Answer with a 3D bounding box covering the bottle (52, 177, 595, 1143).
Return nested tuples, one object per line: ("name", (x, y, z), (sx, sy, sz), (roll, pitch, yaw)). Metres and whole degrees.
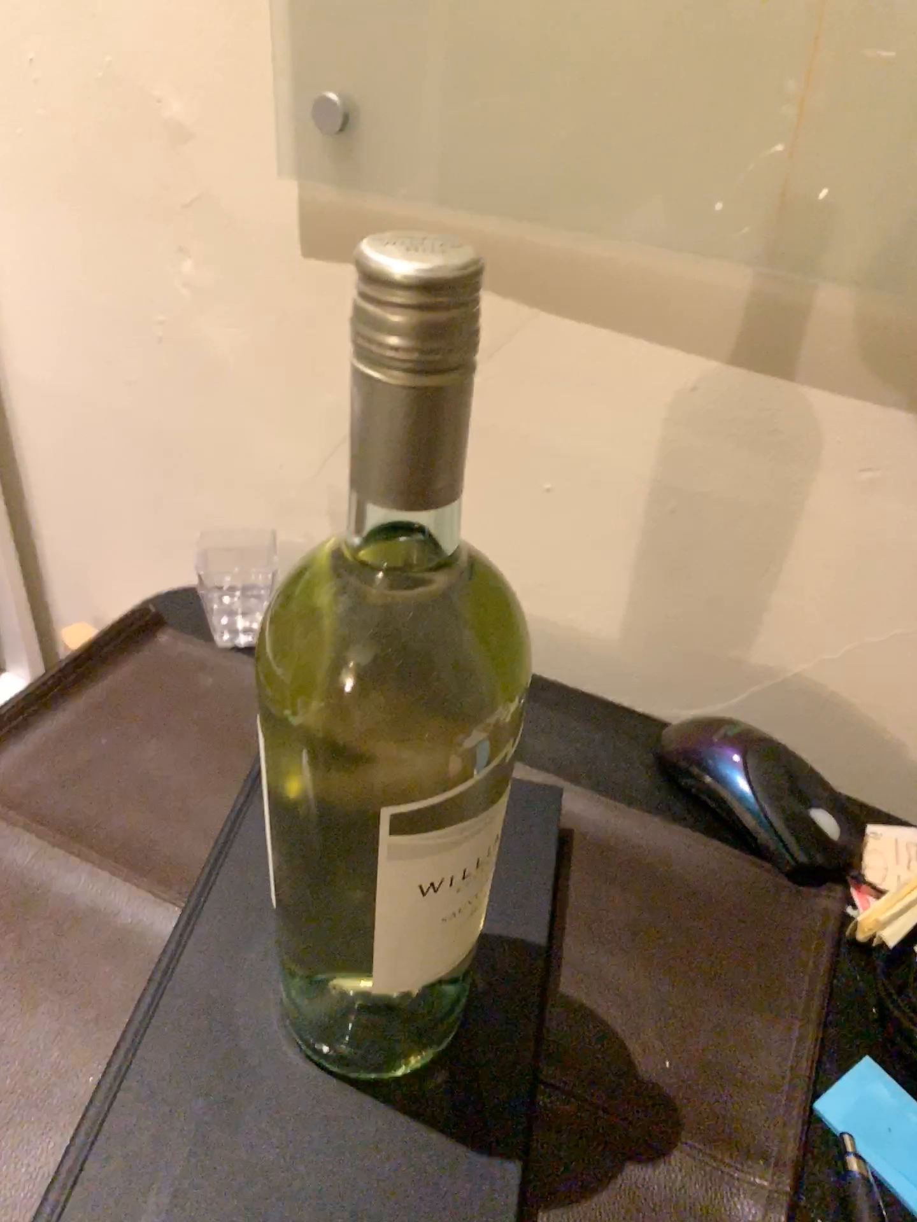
("bottle", (-0.033, 0.036, 0.305), (0.090, 0.298, 0.090), (3, 36, -2))
